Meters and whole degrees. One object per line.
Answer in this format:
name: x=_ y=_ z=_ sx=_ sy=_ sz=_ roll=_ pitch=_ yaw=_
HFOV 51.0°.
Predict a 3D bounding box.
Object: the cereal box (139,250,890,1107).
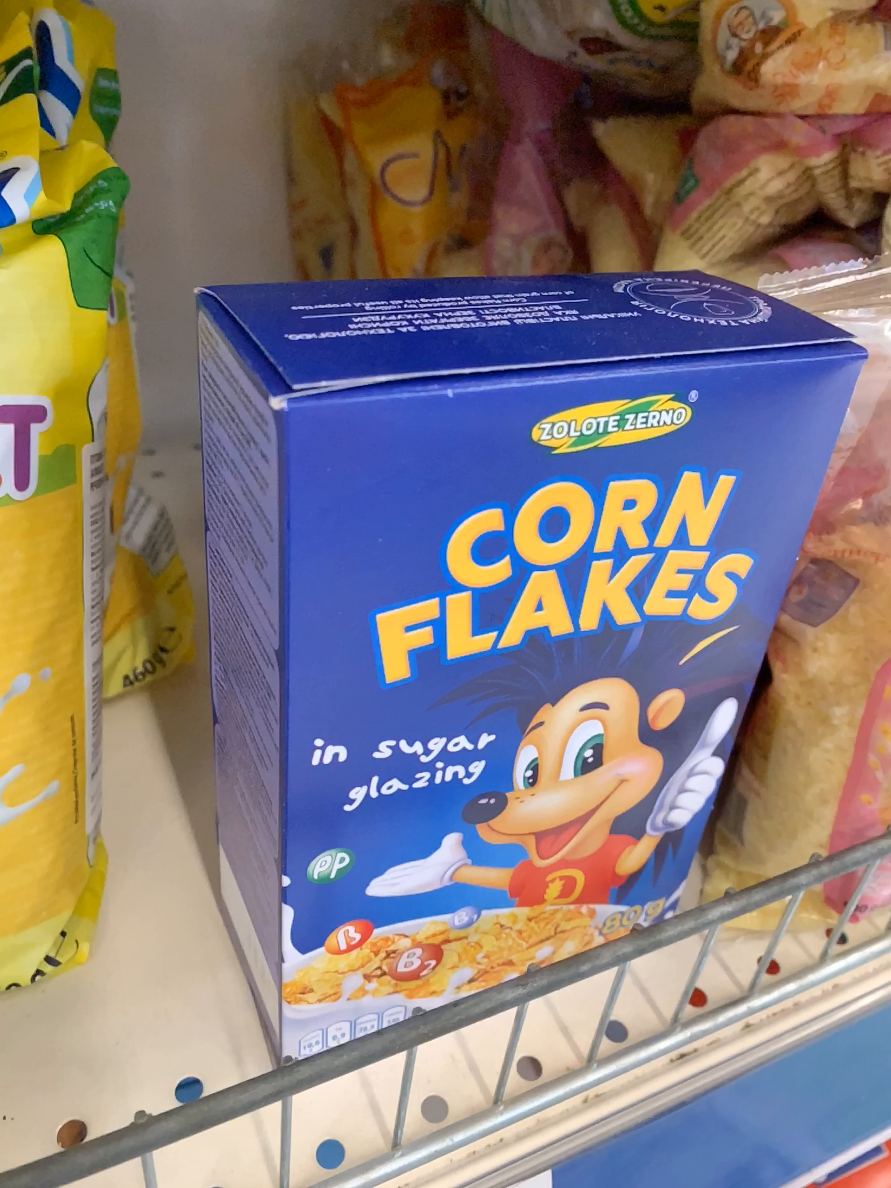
cereal box: x=0.014 y=0.018 z=0.196 sx=0.130 sy=0.159 sz=0.050 roll=-10 pitch=38 yaw=-23
